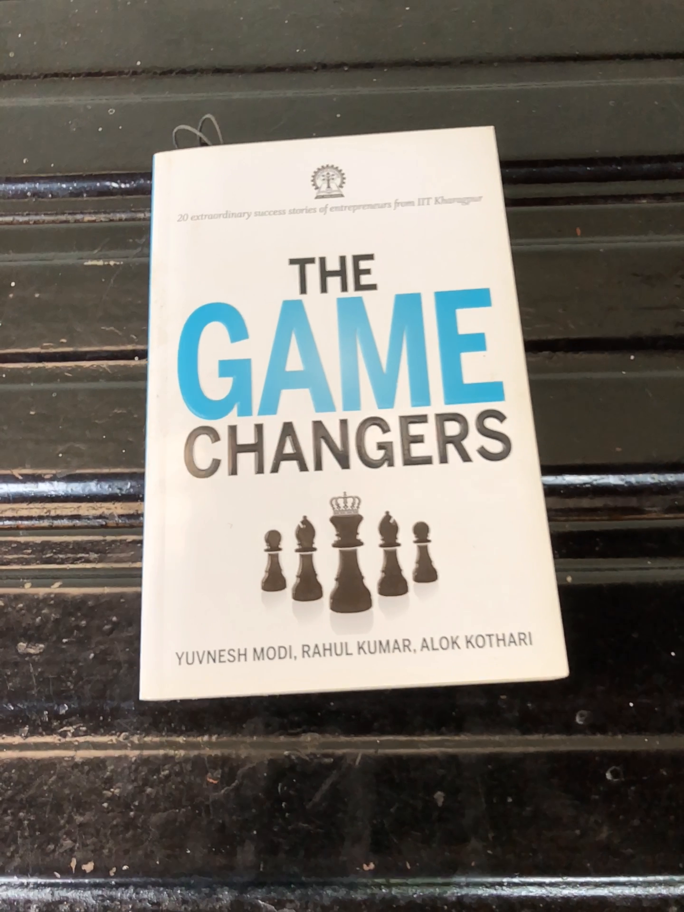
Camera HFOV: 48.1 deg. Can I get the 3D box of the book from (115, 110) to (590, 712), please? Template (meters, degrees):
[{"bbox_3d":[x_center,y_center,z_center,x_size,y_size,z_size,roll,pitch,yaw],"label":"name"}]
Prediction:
[{"bbox_3d":[-0.001,-0.020,0.251,0.130,0.030,0.190,-3,74,1],"label":"book"}]
